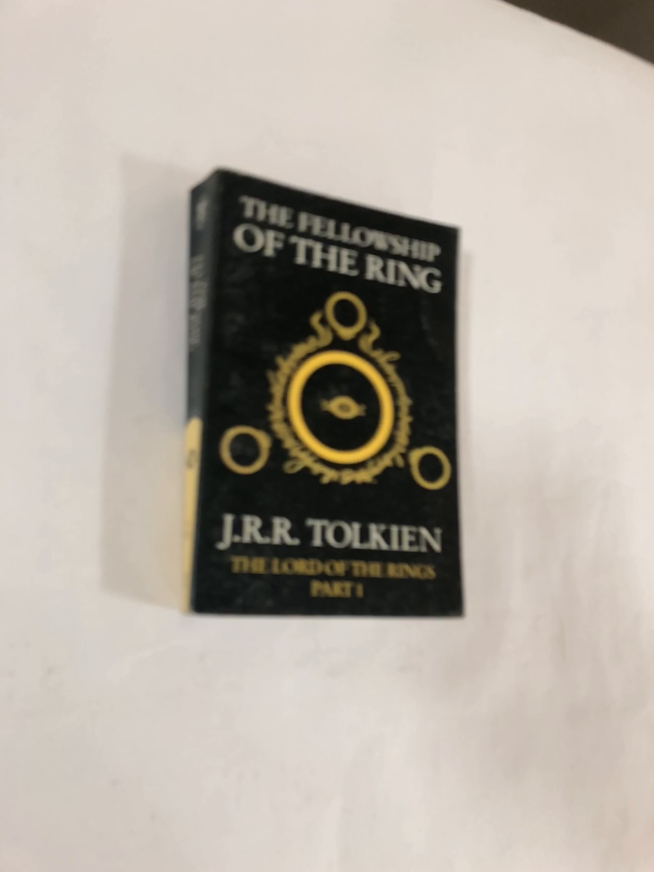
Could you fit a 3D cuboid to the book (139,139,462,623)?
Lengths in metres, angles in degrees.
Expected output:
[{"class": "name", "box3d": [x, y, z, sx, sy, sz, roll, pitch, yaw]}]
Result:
[{"class": "book", "box3d": [-0.009, -0.019, 0.329, 0.130, 0.050, 0.200, 6, 77, -19]}]
